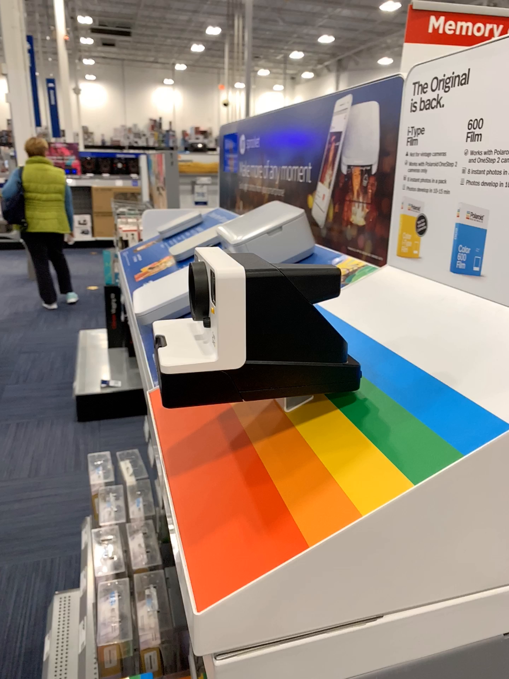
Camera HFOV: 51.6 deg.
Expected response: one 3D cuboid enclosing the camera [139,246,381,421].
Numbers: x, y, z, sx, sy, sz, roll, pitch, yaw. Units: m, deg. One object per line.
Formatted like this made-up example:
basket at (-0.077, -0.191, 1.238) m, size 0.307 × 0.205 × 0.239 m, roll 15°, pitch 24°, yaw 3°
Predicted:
camera at (-0.006, -0.016, 0.407) m, size 0.150 × 0.090 × 0.131 m, roll -4°, pitch 19°, yaw -15°
